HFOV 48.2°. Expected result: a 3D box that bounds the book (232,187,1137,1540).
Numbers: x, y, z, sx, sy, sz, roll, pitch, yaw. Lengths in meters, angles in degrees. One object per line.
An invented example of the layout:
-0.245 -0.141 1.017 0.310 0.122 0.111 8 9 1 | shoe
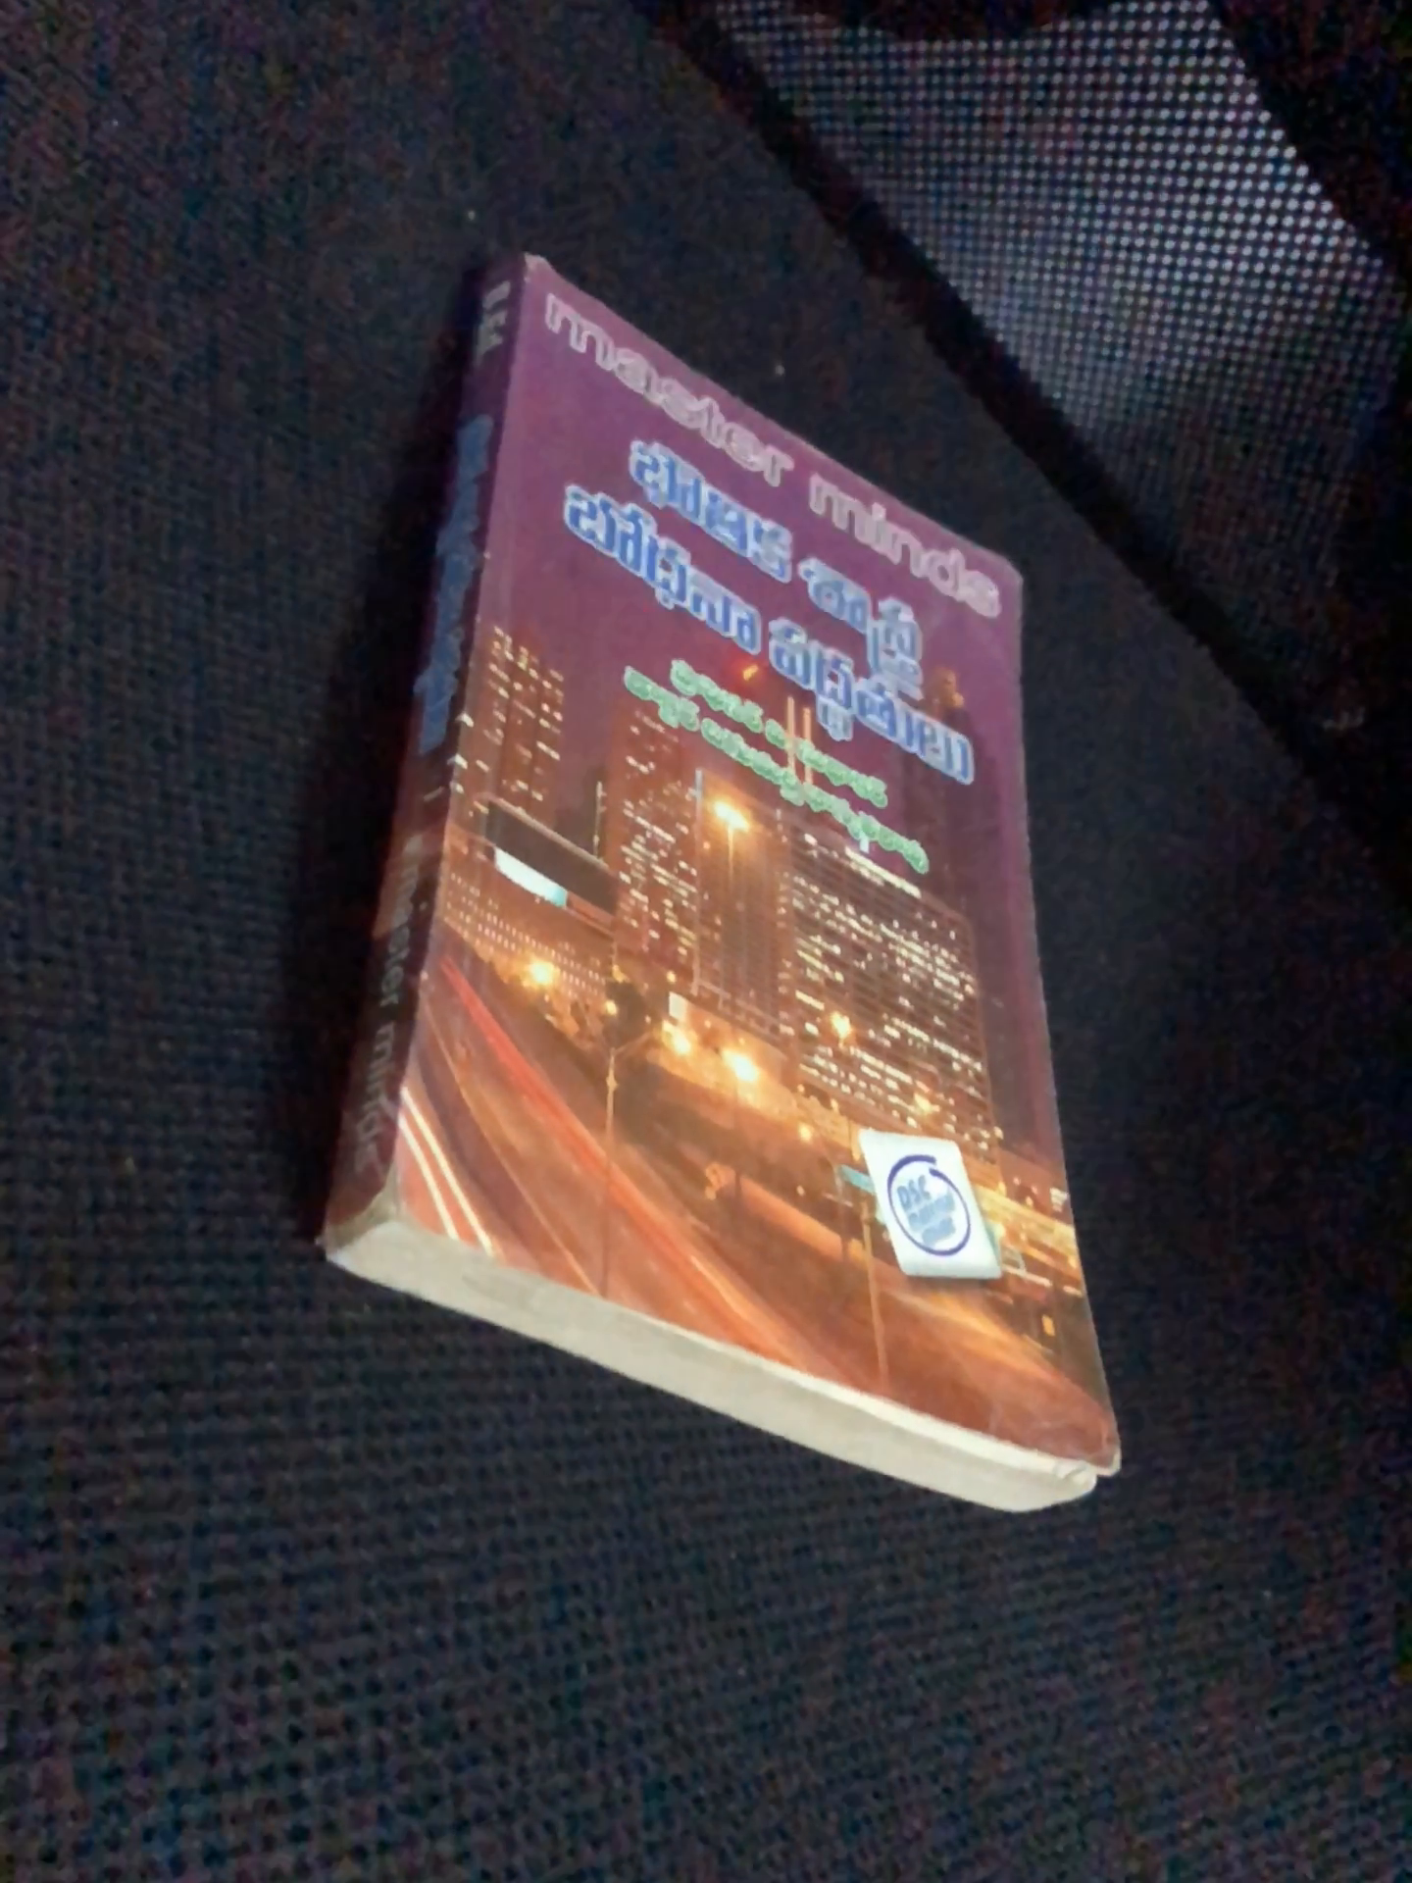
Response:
0.008 -0.023 0.285 0.146 0.027 0.219 30 44 -33 | book
